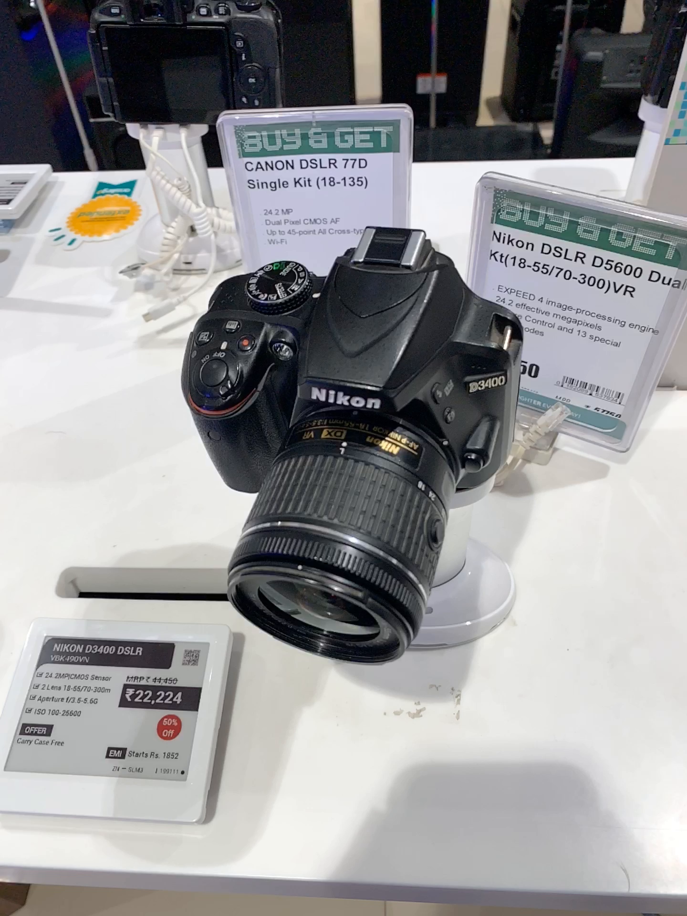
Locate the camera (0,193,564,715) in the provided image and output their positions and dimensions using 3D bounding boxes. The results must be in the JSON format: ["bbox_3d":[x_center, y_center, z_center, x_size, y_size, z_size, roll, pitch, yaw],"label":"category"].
[{"bbox_3d":[-0.005,-0.008,0.219,0.120,0.080,0.120,10,52,13],"label":"camera"}]
